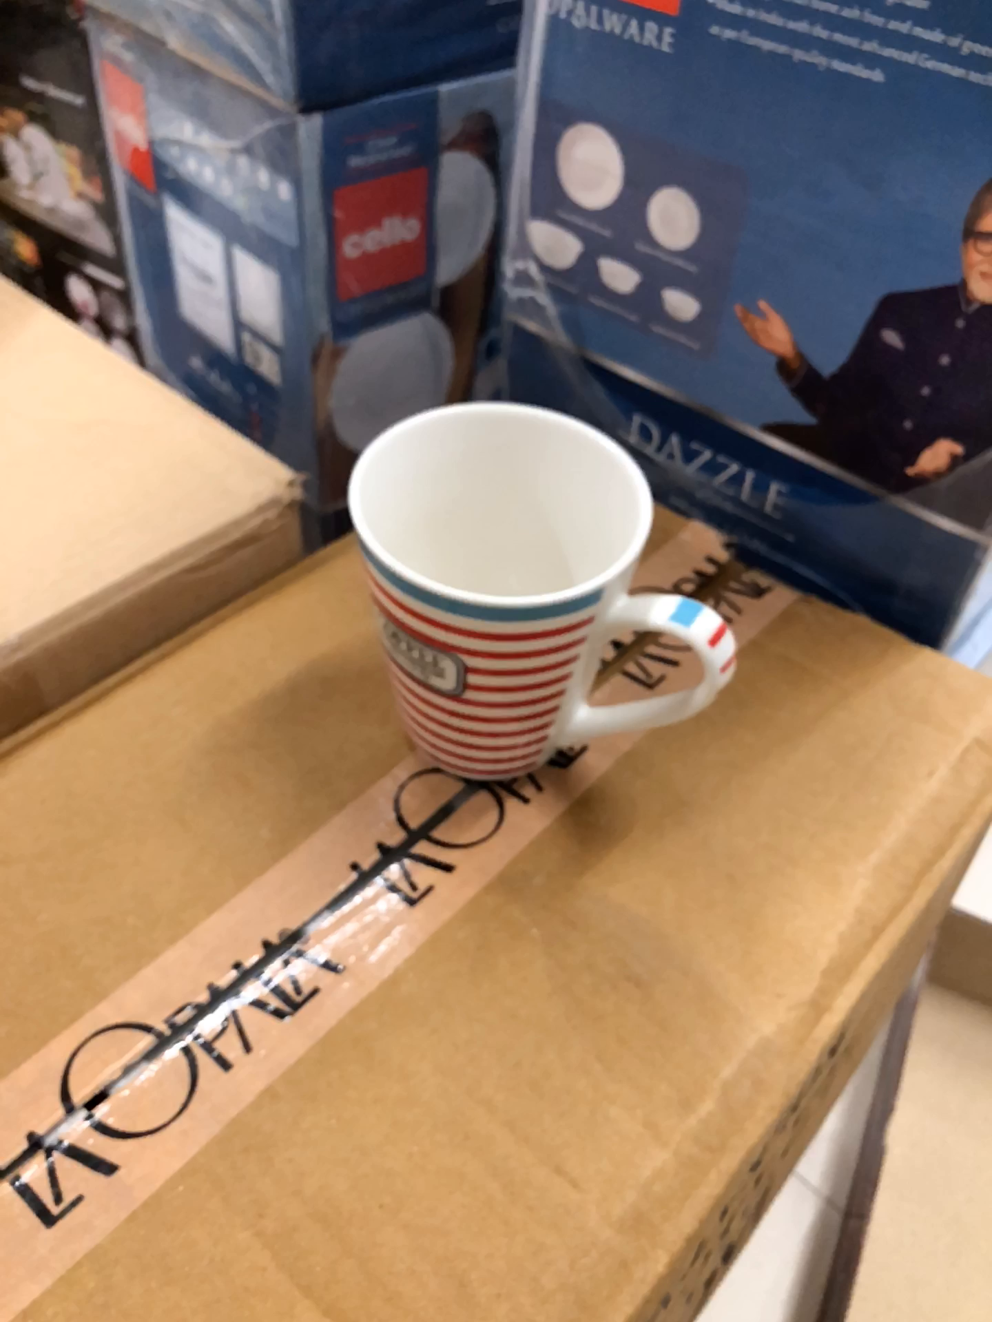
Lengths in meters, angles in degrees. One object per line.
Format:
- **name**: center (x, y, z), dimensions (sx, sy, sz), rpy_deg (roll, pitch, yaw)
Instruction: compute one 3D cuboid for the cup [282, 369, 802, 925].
- **cup**: center (0.012, -0.008, 0.333), dimensions (0.110, 0.099, 0.091), rpy_deg (24, 47, 19)
